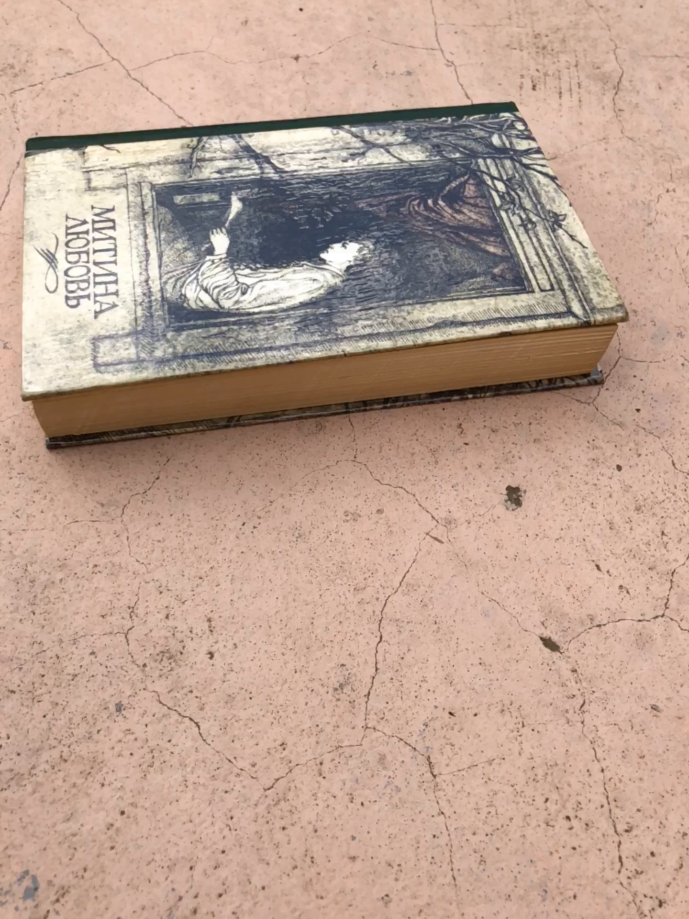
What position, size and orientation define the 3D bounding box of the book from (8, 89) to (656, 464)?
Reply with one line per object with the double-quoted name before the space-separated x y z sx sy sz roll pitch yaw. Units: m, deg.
"book" -0.012 -0.079 0.296 0.213 0.035 0.135 -8 59 -9
